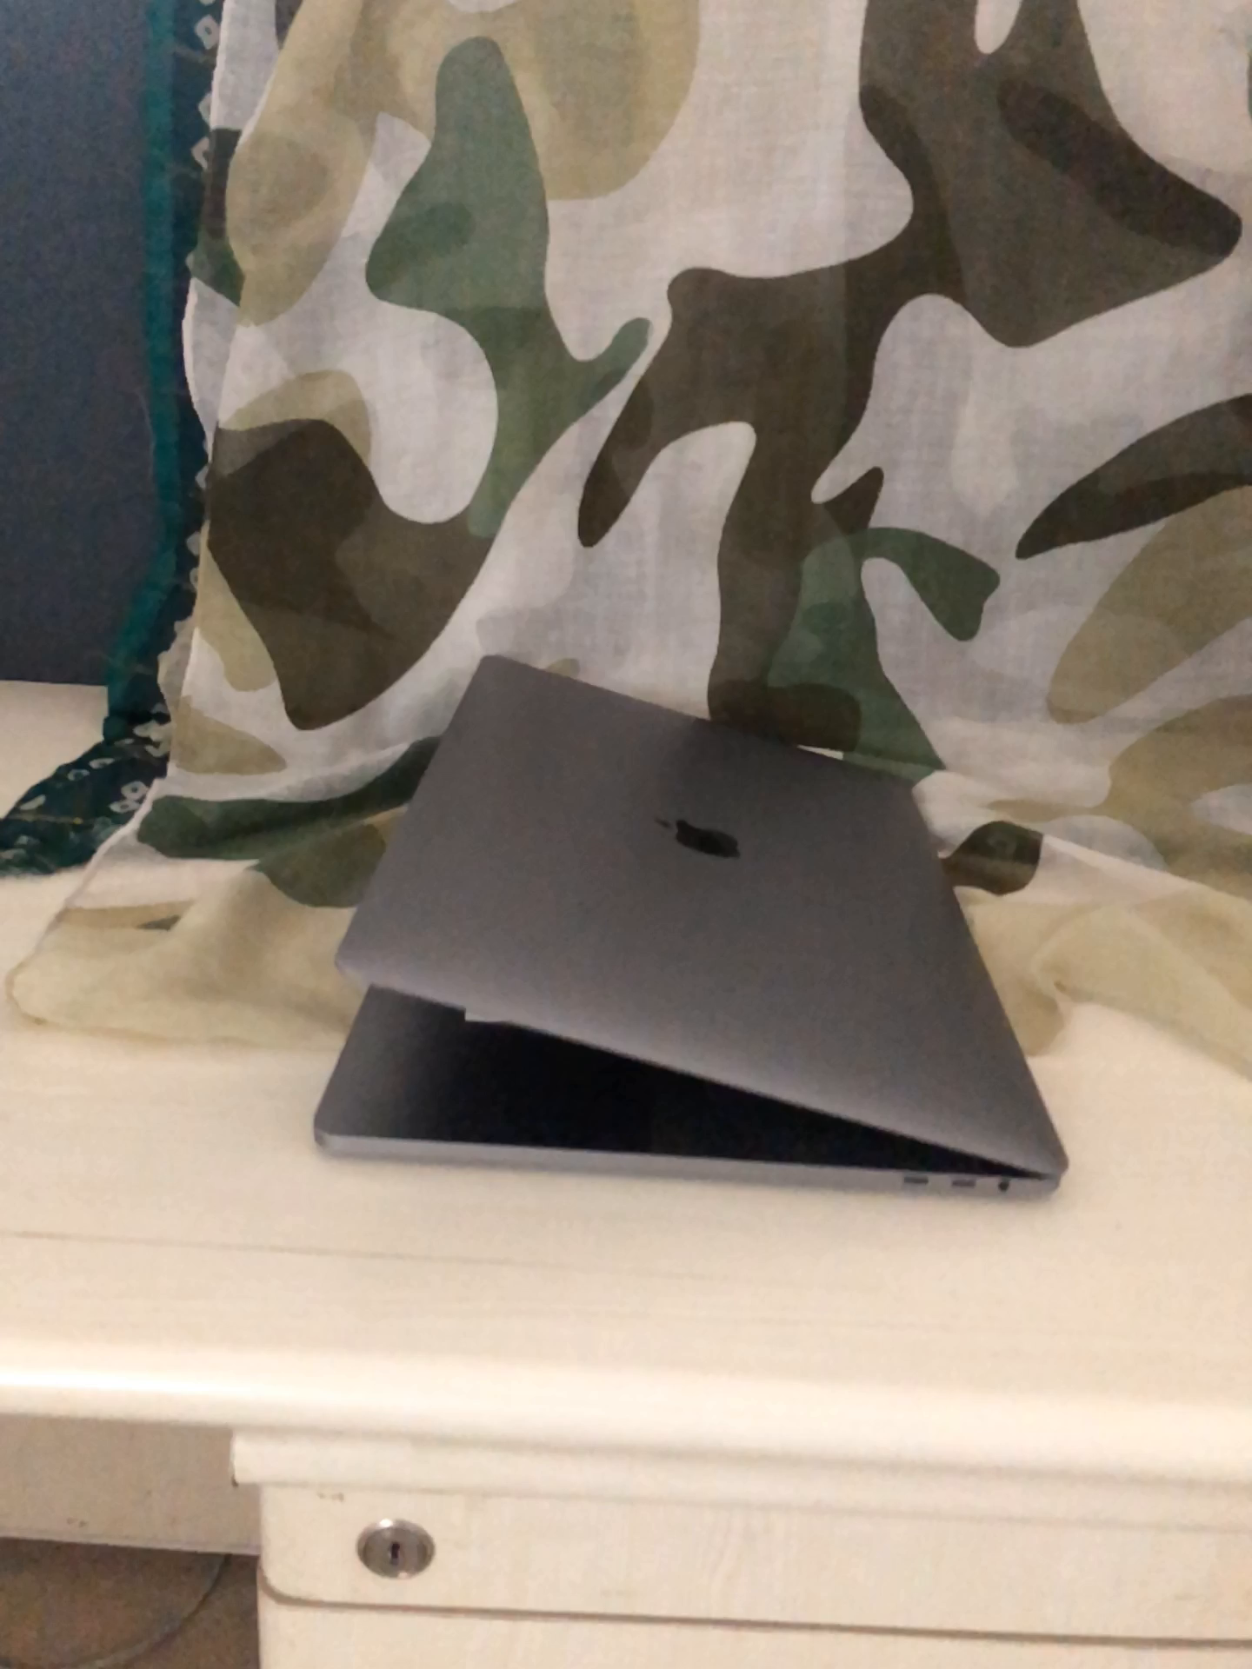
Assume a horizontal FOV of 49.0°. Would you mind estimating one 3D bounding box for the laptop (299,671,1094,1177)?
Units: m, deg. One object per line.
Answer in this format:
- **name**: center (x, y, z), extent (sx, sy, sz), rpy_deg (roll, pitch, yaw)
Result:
- **laptop**: center (0.028, 0.010, 0.576), extent (0.236, 0.058, 0.340), rpy_deg (4, 22, 2)
